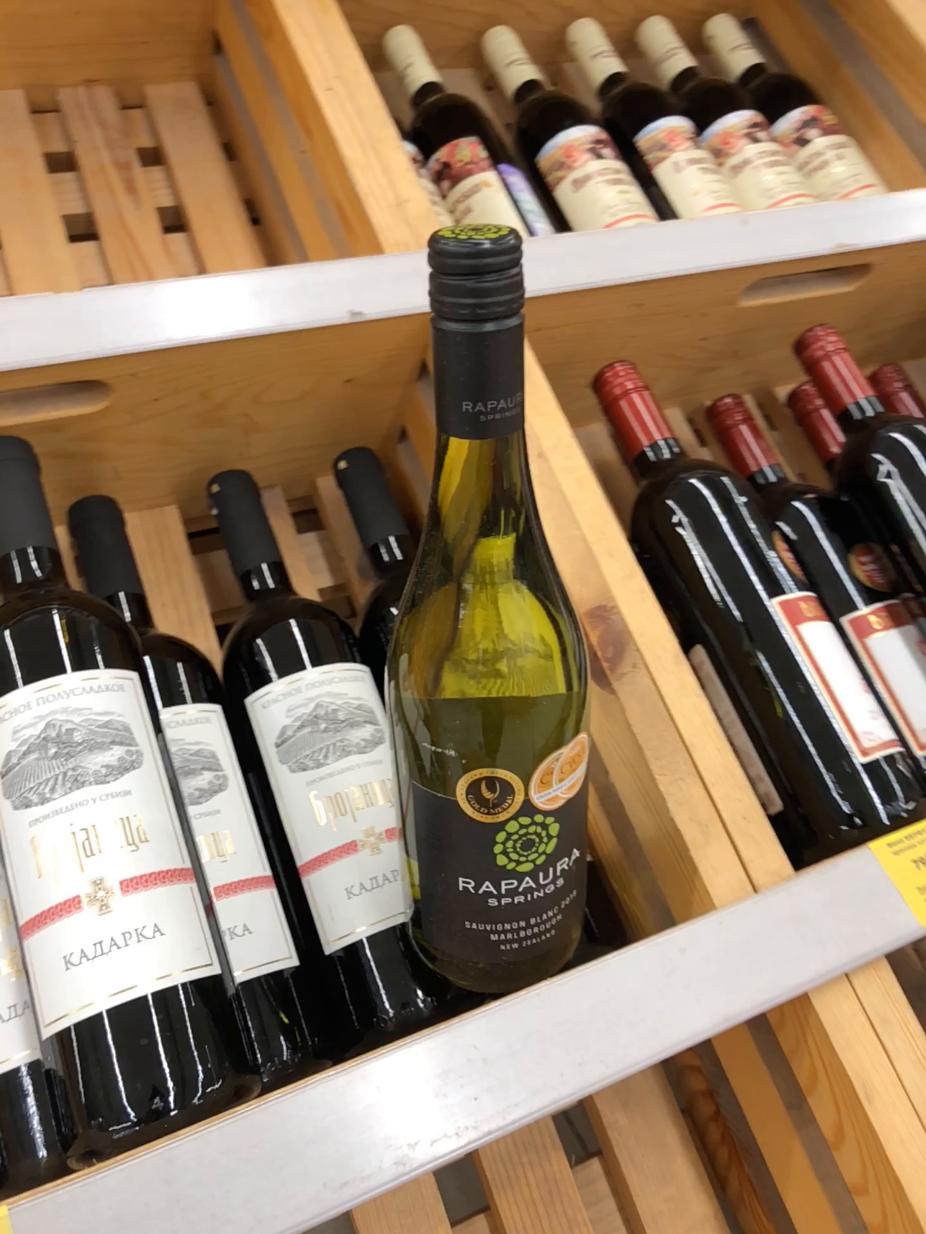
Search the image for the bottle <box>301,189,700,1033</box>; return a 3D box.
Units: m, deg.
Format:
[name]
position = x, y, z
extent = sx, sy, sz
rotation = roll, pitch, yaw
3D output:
[bottle]
position = 0.010, 0.007, 0.376
extent = 0.090, 0.288, 0.090
rotation = -1, 30, 1
